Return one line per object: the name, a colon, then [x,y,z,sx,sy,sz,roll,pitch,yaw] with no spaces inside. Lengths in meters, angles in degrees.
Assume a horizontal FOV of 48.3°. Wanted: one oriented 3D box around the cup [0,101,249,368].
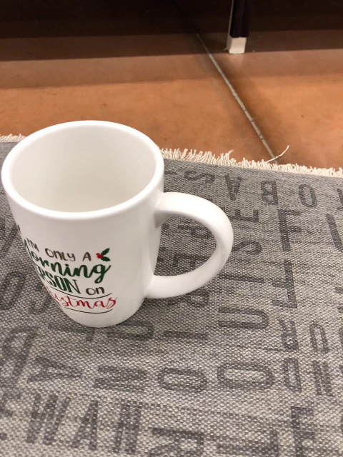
cup: [-0.037,0.002,0.225,0.140,0.100,0.090,10,46,7]
